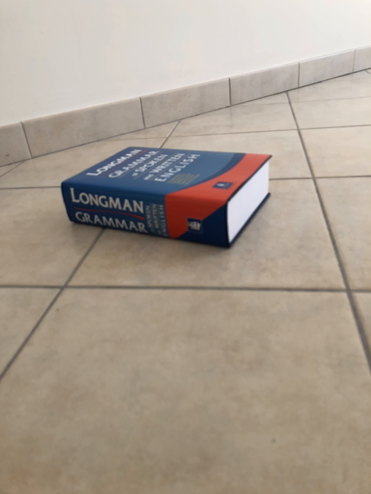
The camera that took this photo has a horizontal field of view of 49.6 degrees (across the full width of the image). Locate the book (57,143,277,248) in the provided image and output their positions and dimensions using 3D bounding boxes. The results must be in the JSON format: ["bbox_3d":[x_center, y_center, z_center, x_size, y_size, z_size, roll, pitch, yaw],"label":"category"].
[{"bbox_3d":[-0.019,-0.087,0.567,0.250,0.060,0.178,10,33,26],"label":"book"}]
